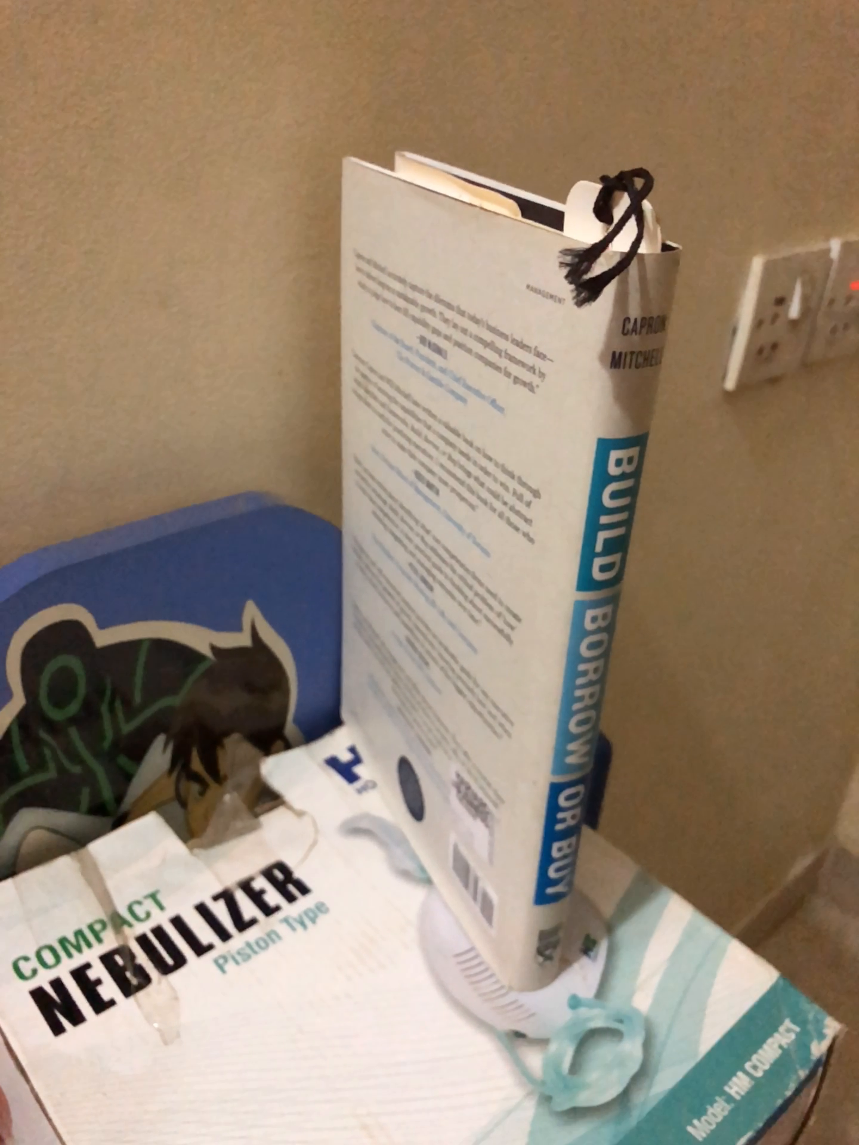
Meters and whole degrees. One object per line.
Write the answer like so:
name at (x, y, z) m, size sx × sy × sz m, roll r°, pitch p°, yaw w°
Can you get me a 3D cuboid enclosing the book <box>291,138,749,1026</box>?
book at (0.004, -0.005, 0.326) m, size 0.040 × 0.239 × 0.181 m, roll -11°, pitch 33°, yaw -24°
